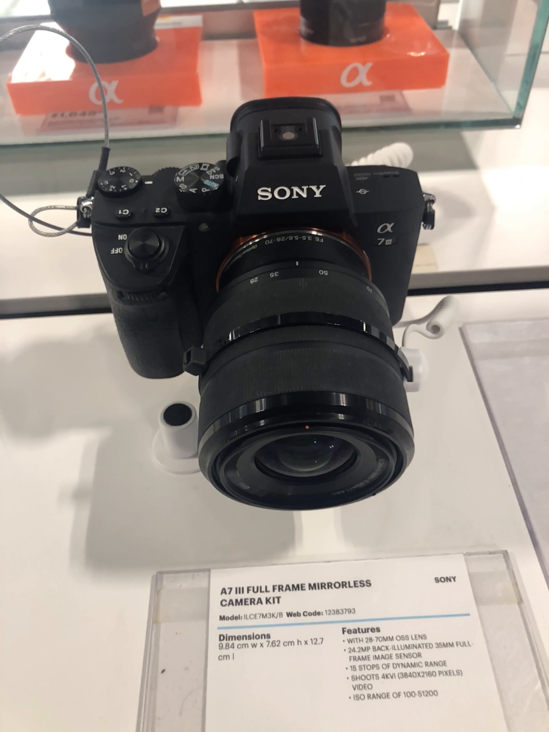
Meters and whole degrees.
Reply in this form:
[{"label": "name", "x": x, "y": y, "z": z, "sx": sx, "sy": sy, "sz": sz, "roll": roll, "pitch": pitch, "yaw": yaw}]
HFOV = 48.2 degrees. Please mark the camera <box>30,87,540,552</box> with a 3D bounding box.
[{"label": "camera", "x": 0.001, "y": -0.019, "z": 0.224, "sx": 0.120, "sy": 0.099, "sz": 0.131, "roll": -4, "pitch": 49, "yaw": -1}]
